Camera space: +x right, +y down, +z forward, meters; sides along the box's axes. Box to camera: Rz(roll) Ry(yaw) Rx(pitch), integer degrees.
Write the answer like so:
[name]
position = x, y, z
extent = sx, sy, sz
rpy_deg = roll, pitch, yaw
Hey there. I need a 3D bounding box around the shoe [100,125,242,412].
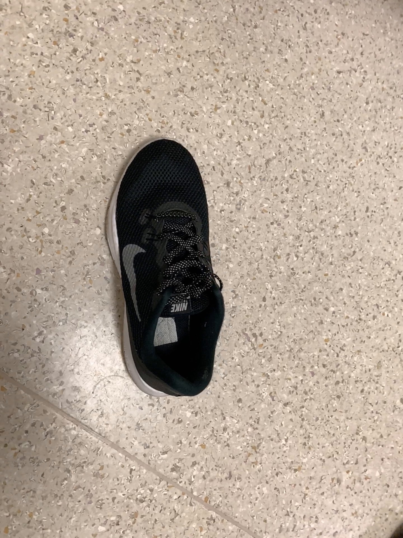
[shoe]
position = -0.037, -0.002, 0.426
extent = 0.113, 0.094, 0.252
rpy_deg = -2, 87, -21
